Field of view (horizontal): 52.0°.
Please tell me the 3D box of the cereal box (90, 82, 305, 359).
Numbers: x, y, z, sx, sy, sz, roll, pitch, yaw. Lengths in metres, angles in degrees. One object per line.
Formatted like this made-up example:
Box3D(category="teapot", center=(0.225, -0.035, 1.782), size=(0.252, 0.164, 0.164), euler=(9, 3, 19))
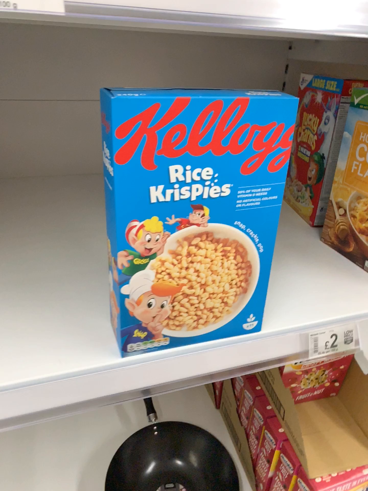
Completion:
Box3D(category="cereal box", center=(0.006, -0.023, 0.440), size=(0.200, 0.297, 0.071), euler=(-6, 29, -17))
